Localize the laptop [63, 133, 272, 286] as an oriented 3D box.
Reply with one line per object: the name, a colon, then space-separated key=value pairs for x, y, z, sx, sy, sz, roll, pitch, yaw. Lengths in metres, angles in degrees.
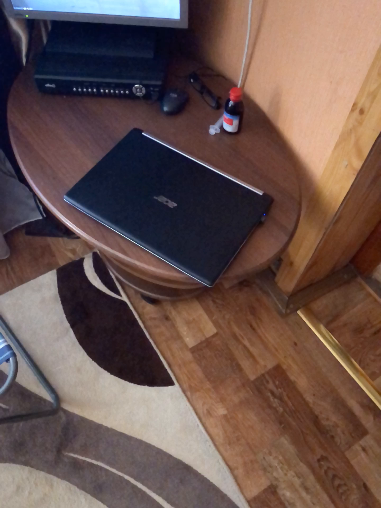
laptop: x=-0.047 y=-0.112 z=0.885 sx=0.363 sy=0.004 sz=0.240 roll=30 pitch=63 yaw=16
